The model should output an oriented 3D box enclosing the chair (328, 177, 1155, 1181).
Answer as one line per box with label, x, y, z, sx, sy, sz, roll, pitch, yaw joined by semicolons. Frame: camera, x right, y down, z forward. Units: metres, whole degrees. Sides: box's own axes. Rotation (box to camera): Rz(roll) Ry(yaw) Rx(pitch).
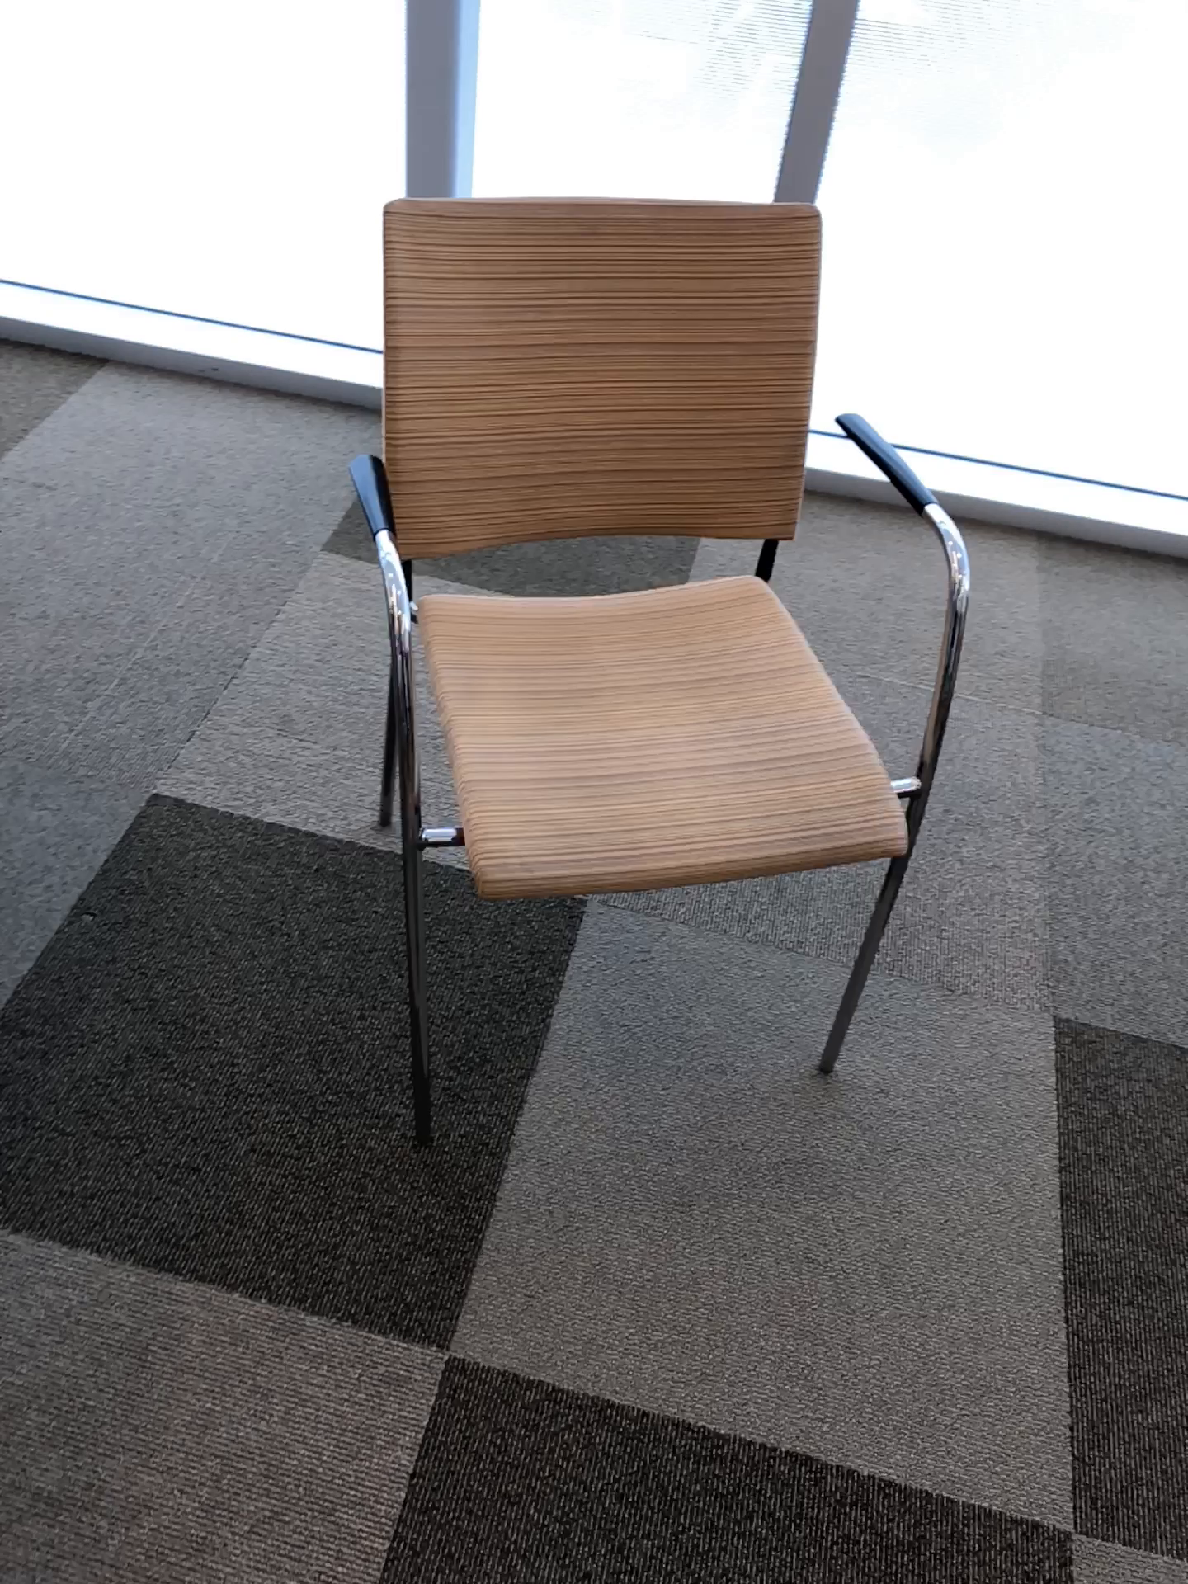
chair;0.039;-0.103;1.317;0.515;0.796;0.548;-6;45;-15
